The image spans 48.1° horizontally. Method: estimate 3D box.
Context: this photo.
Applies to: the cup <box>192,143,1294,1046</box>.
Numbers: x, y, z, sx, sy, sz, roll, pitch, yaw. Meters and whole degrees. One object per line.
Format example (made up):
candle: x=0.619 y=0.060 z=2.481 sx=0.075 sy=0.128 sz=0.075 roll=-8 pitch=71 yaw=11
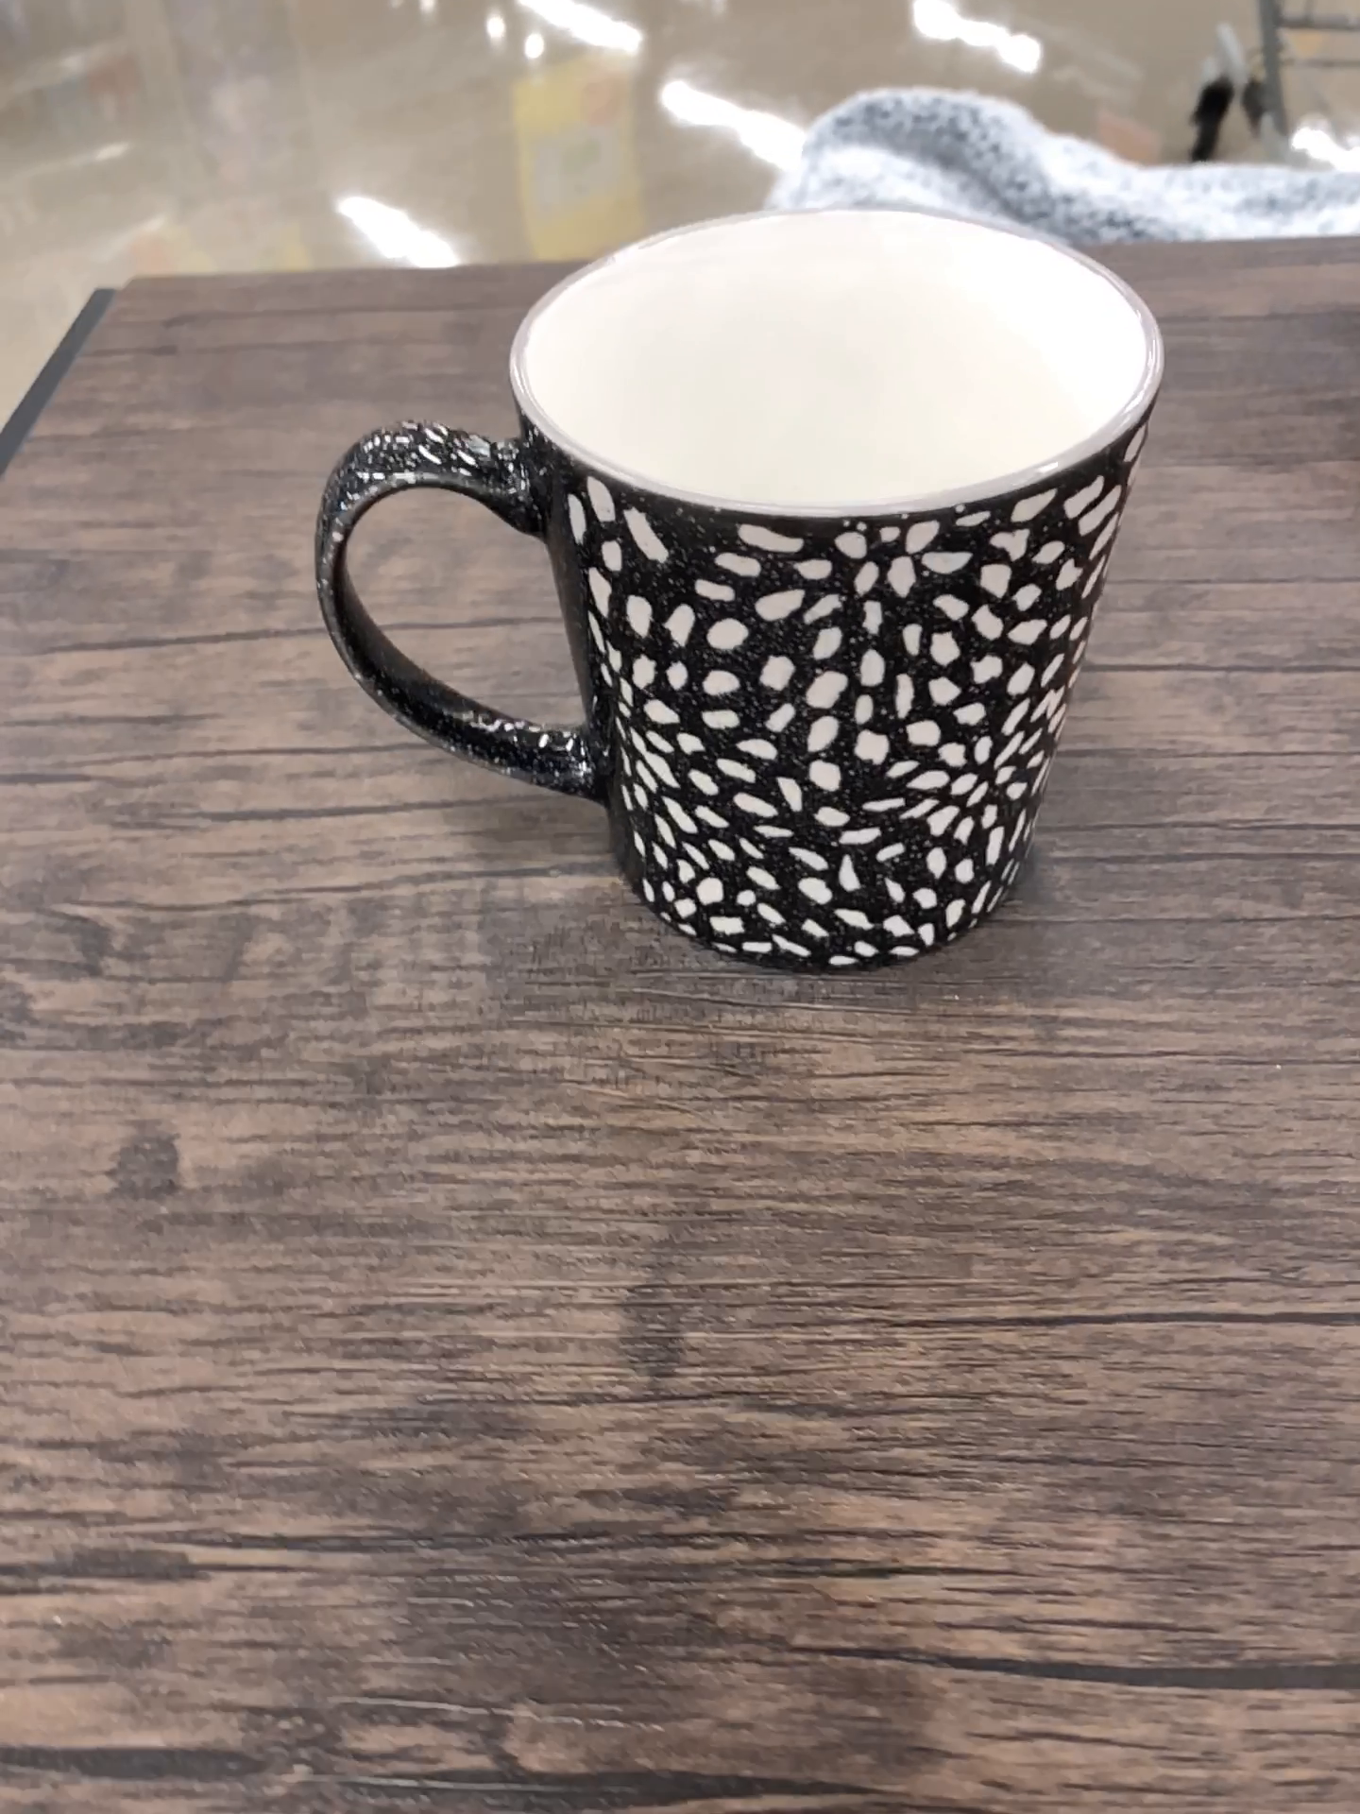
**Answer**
cup: x=0.006 y=-0.055 z=0.262 sx=0.140 sy=0.100 sz=0.100 roll=-7 pitch=46 yaw=-3
